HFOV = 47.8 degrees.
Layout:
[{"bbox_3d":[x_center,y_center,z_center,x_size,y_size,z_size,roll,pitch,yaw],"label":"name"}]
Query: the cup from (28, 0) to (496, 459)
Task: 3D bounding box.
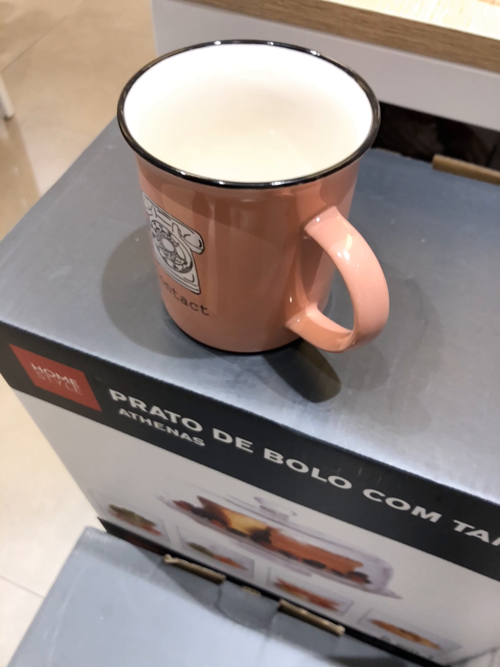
[{"bbox_3d":[0.000,-0.038,0.198,0.080,0.089,0.110,-37,63,-23],"label":"cup"}]
